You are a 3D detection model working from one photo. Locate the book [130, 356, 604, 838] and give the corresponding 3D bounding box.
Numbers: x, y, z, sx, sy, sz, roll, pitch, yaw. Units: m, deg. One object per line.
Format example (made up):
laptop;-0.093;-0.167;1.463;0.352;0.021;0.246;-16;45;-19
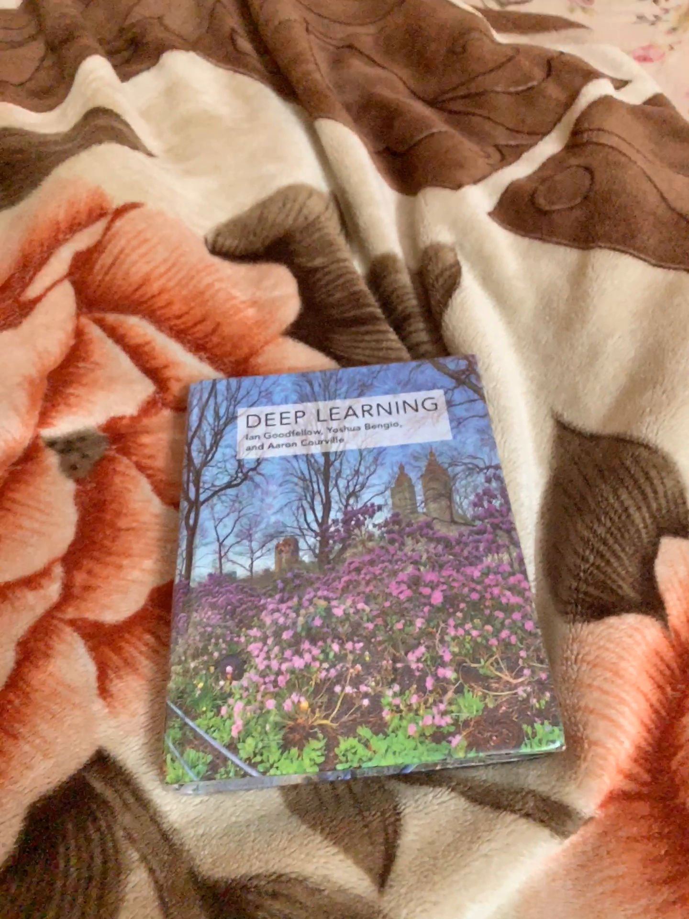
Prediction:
book;0.001;0.056;0.402;0.210;0.030;0.261;-4;55;-1
